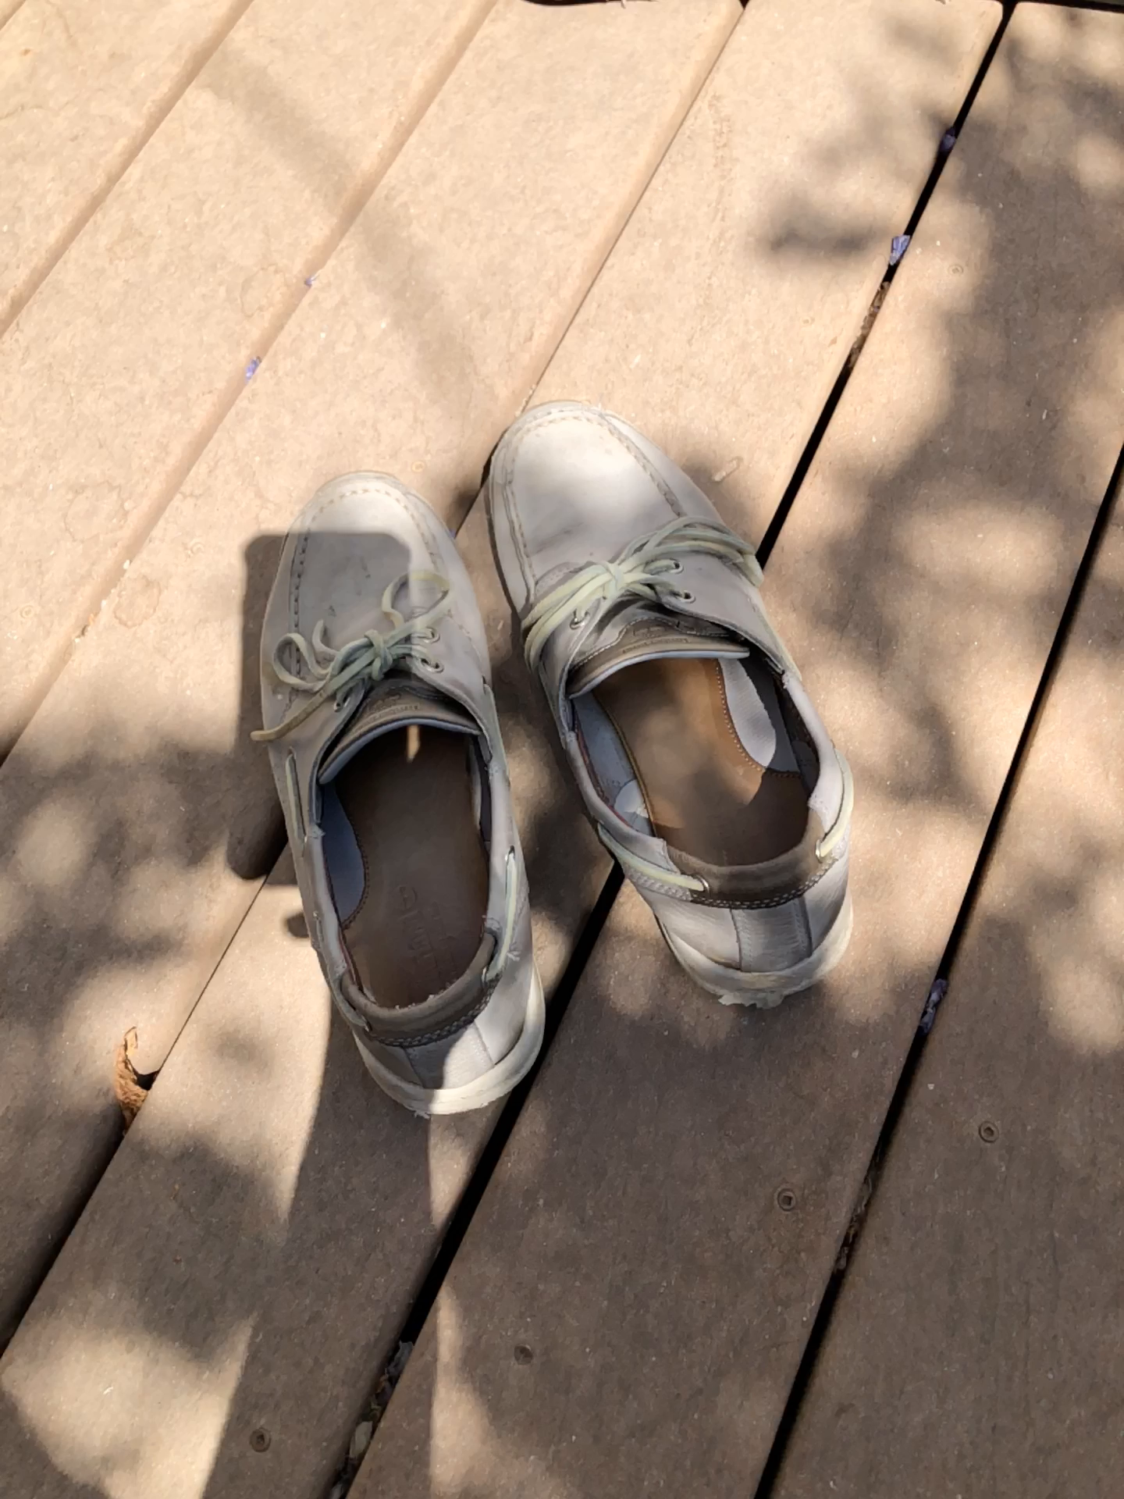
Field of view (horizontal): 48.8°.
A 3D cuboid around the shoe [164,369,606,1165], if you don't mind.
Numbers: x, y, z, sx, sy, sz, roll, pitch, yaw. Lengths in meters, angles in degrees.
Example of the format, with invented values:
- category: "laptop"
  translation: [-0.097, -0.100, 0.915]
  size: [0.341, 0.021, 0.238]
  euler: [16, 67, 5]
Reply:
- category: "shoe"
  translation: [-0.075, -0.001, 0.494]
  size: [0.109, 0.076, 0.294]
  euler: [-15, 66, -1]

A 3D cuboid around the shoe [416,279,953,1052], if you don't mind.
- category: "shoe"
  translation: [0.037, -0.042, 0.503]
  size: [0.109, 0.076, 0.294]
  euler: [-18, 66, -3]
